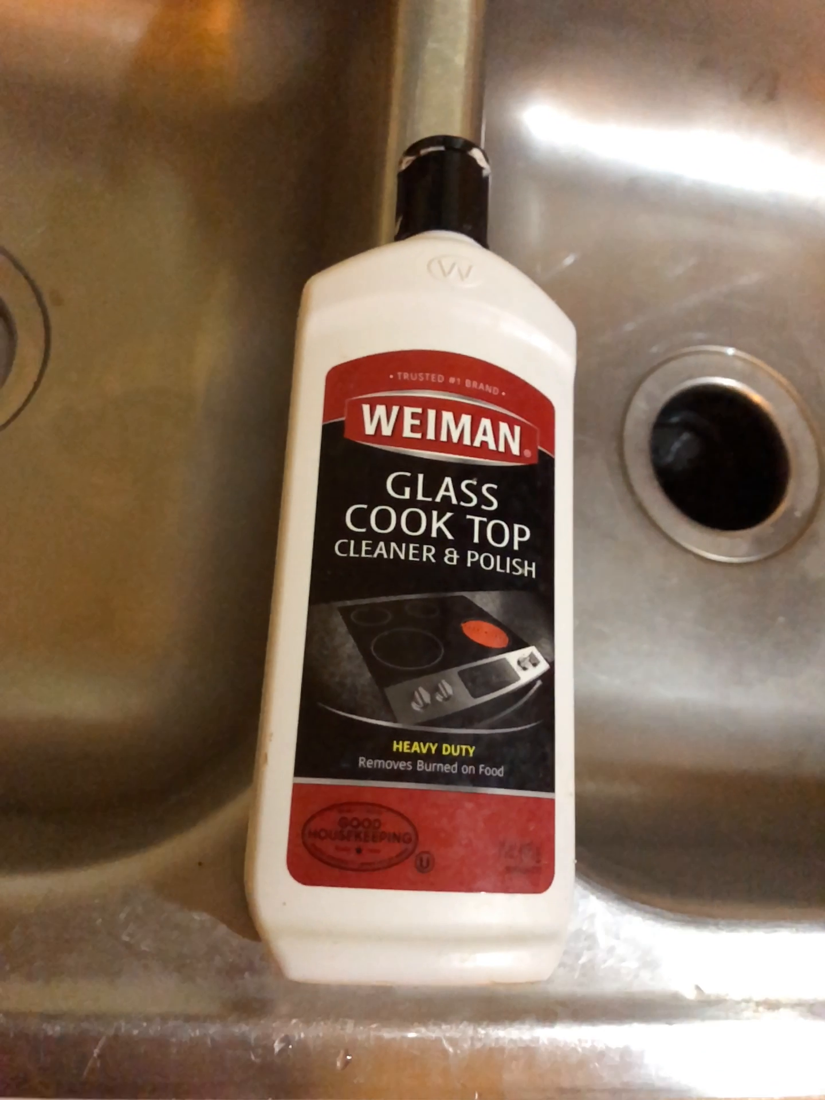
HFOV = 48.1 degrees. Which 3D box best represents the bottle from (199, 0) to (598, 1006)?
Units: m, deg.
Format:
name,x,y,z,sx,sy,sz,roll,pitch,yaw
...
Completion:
name,x,y,z,sx,sy,sz,roll,pitch,yaw
bottle,-0.001,-0.019,0.238,0.080,0.050,0.240,6,74,-11
